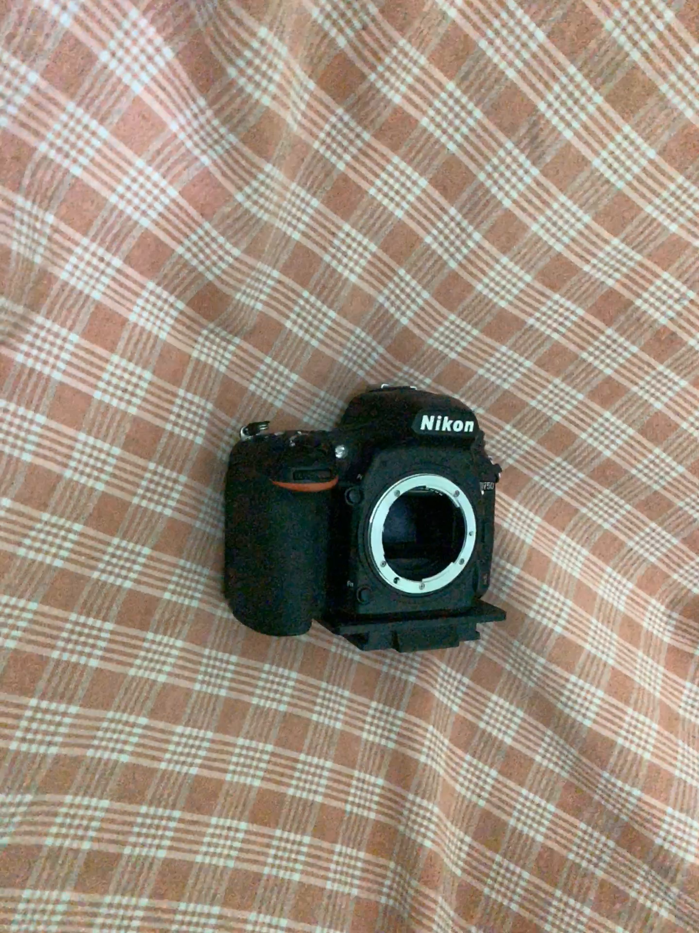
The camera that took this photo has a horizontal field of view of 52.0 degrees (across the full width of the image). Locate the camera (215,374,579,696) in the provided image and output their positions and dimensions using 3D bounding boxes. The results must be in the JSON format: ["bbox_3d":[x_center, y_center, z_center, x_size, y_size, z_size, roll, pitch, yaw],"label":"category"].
[{"bbox_3d":[0.020,0.023,0.344,0.145,0.085,0.125,0,96,-26],"label":"camera"}]
